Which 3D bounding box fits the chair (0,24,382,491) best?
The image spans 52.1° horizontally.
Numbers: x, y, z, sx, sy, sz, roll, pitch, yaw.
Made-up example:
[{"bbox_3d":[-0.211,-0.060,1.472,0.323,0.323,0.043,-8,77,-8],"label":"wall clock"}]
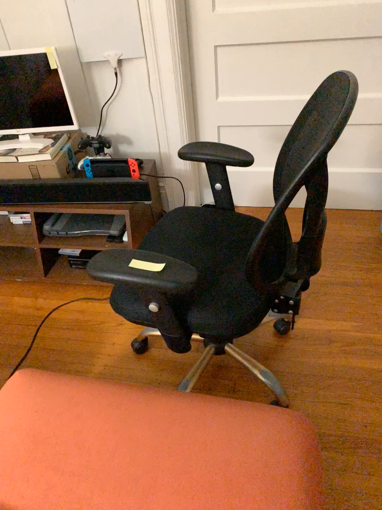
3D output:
[{"bbox_3d":[0.097,0.008,1.078,0.661,0.974,0.642,15,44,17],"label":"chair"}]
